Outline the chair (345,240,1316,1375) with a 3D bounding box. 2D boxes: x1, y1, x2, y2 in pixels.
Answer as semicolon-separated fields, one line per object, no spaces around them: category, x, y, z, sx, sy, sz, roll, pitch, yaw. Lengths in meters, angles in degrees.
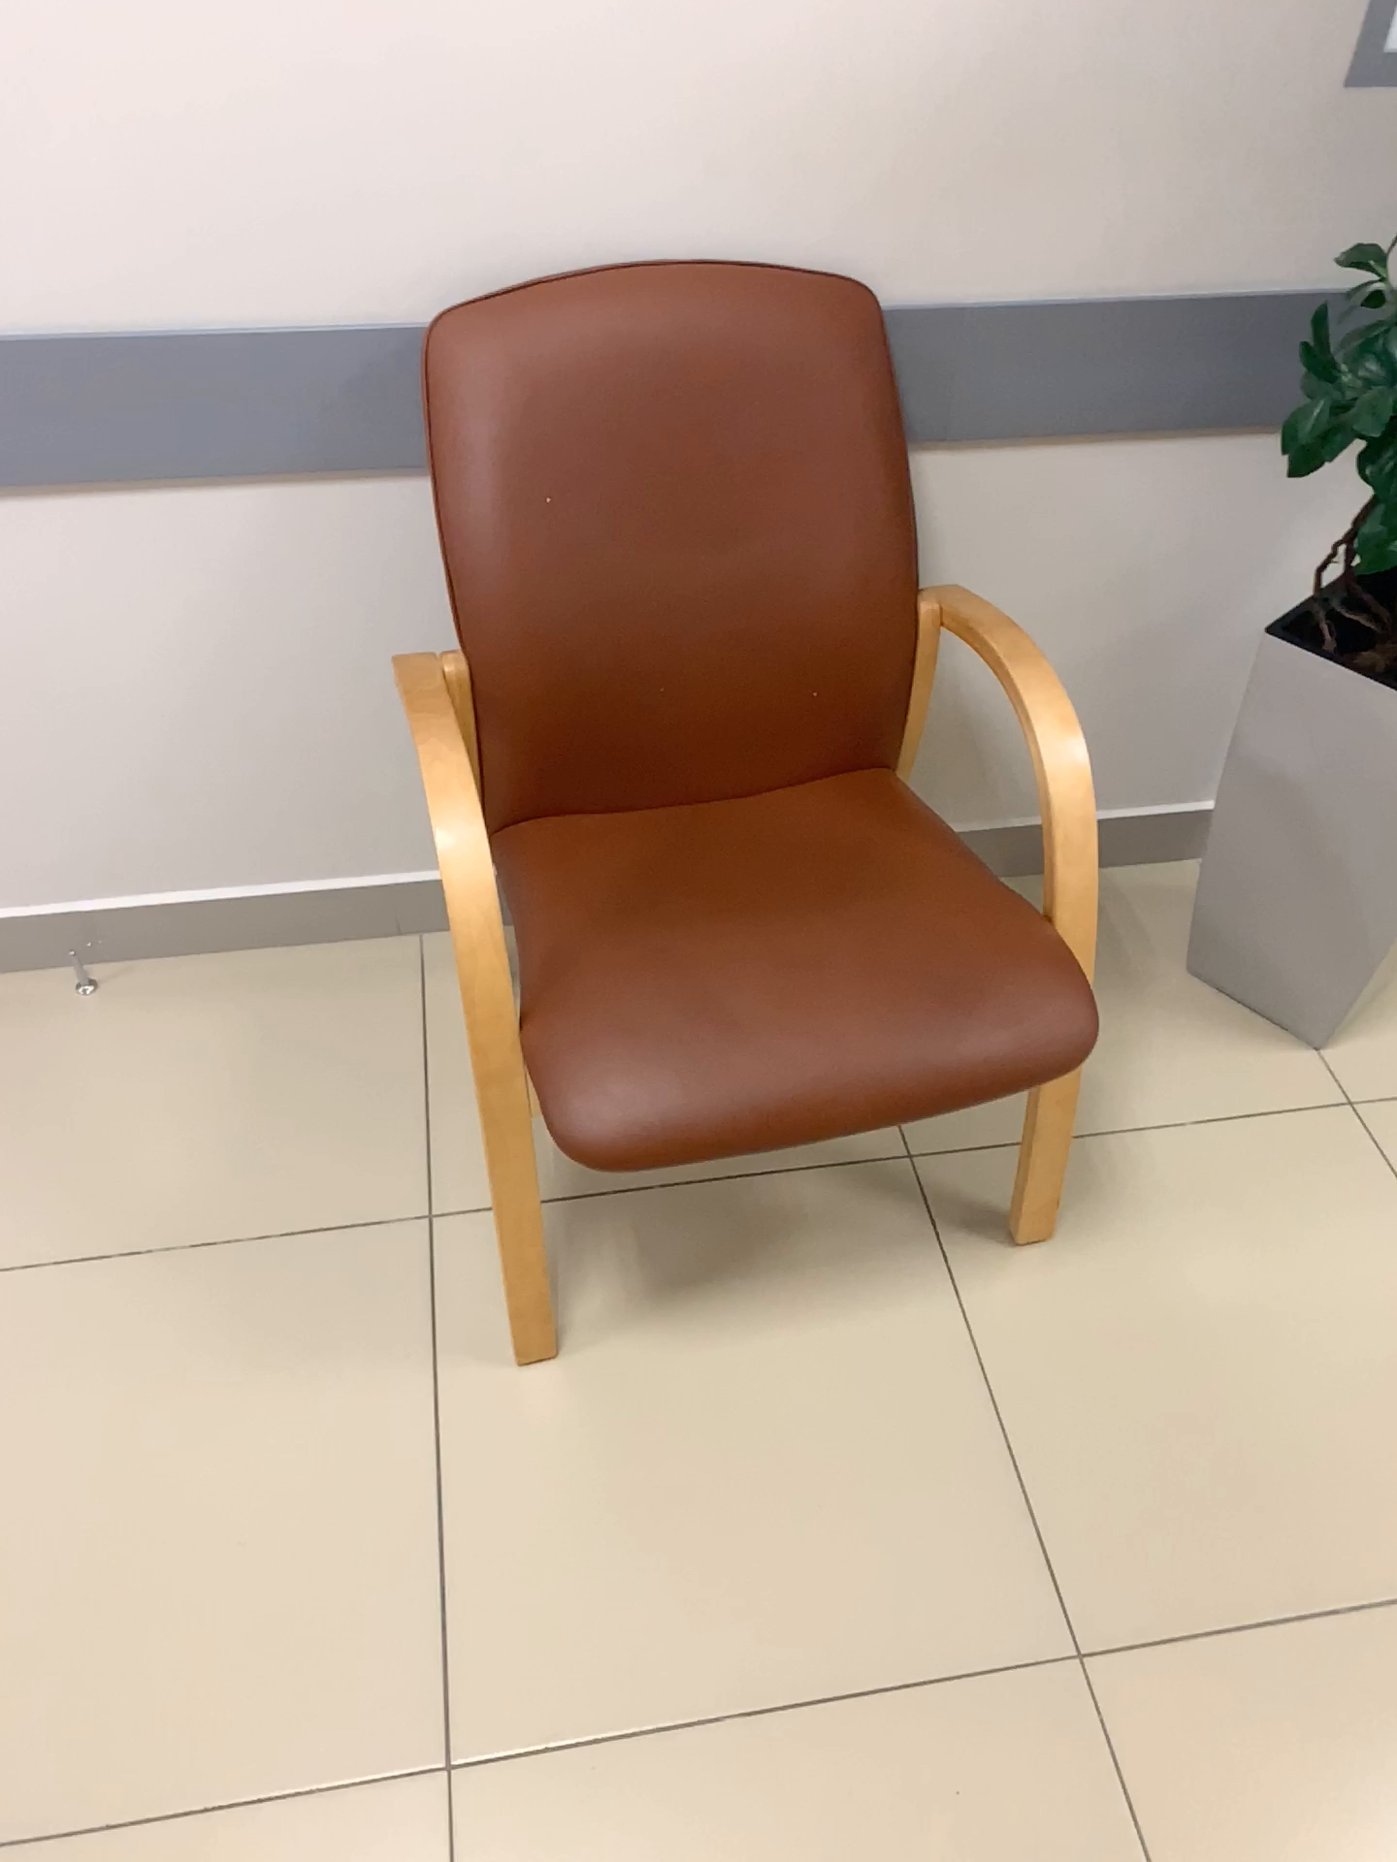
chair;0.051;-0.113;1.554;0.670;0.985;0.603;-9;44;-12
